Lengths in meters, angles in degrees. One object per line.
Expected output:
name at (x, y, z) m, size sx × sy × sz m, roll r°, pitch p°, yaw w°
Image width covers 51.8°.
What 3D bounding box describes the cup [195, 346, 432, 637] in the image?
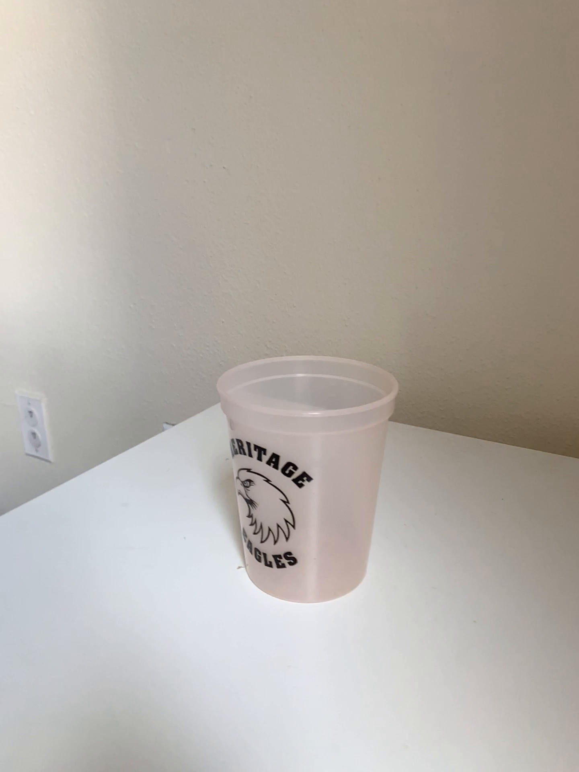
cup at (0.012, 0.047, 0.321) m, size 0.090 × 0.110 × 0.080 m, roll 16°, pitch 24°, yaw 41°
